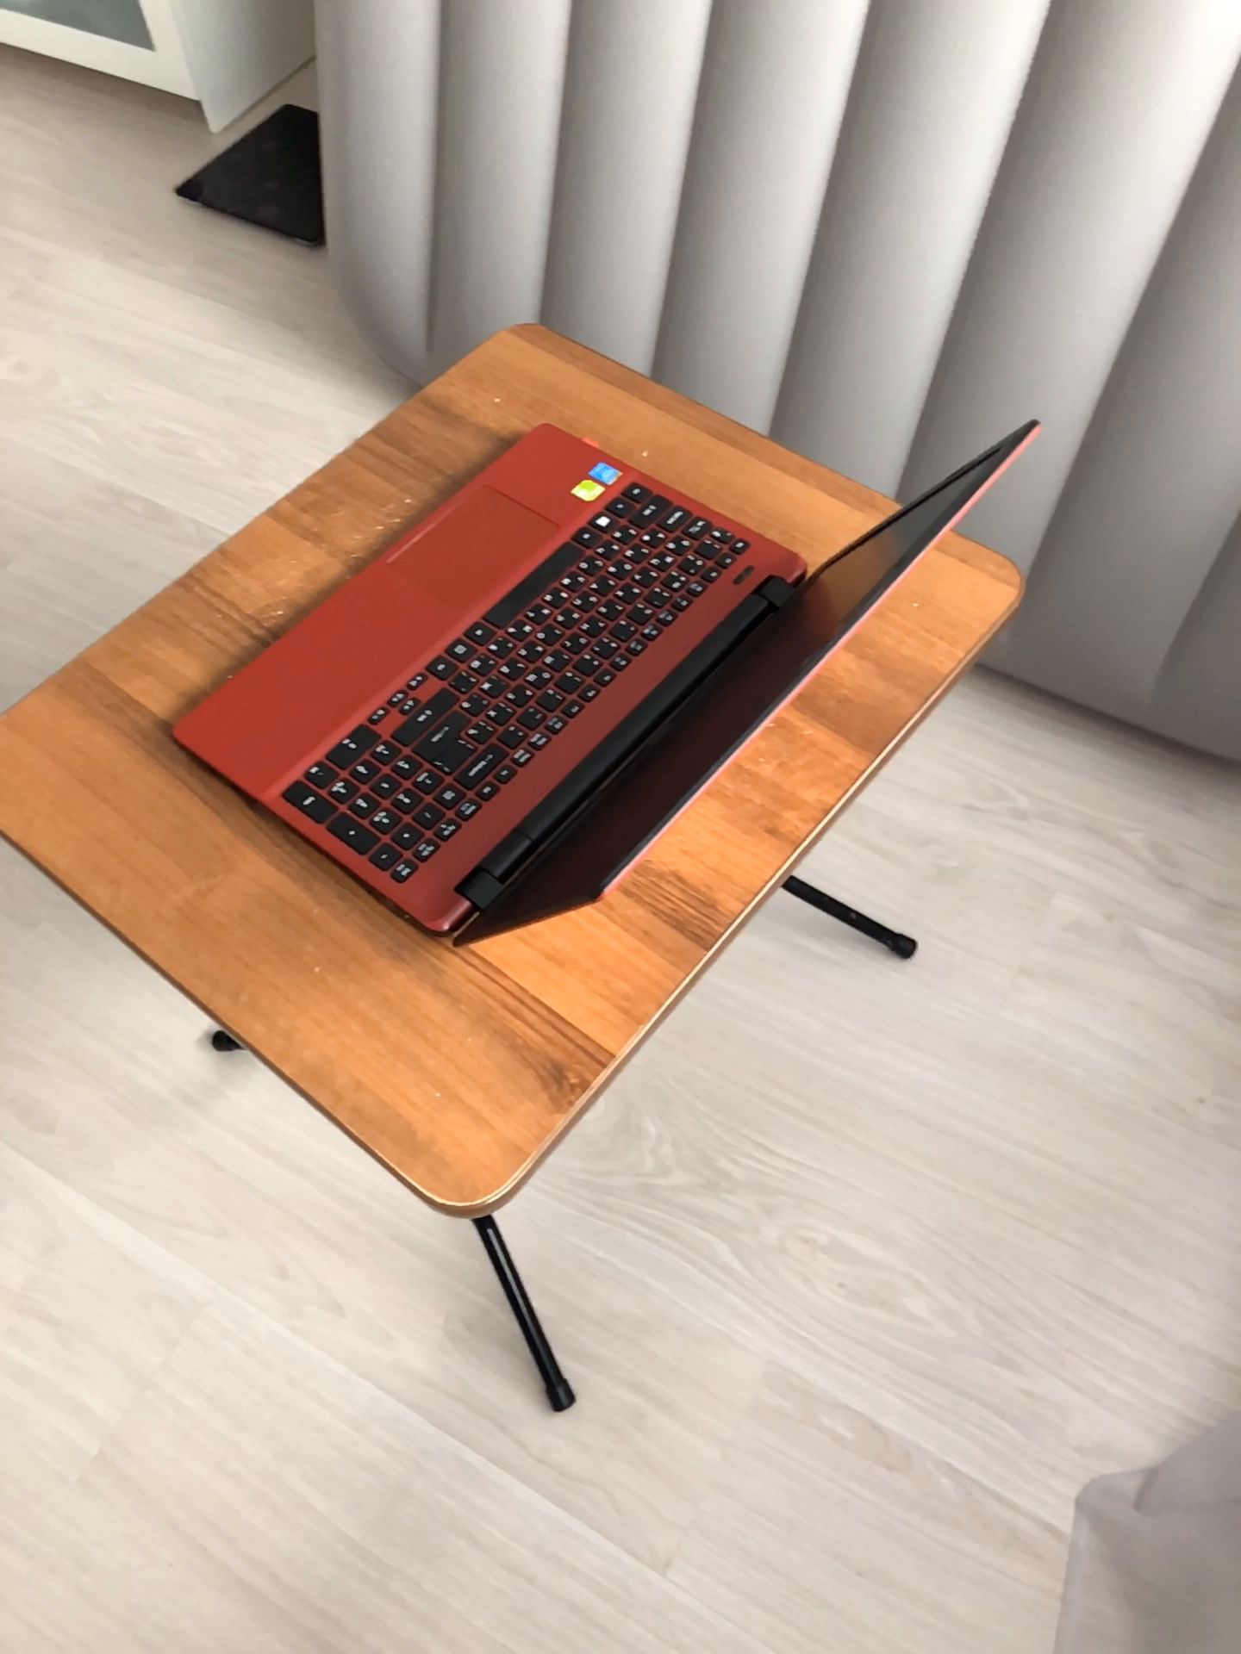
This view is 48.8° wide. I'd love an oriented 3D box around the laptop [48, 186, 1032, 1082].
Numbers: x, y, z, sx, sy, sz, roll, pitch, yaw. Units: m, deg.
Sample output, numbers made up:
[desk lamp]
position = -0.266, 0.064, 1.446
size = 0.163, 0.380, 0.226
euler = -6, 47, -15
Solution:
[laptop]
position = -0.038, -0.138, 0.809
size = 0.382, 0.191, 0.372
euler = 35, 64, 23
